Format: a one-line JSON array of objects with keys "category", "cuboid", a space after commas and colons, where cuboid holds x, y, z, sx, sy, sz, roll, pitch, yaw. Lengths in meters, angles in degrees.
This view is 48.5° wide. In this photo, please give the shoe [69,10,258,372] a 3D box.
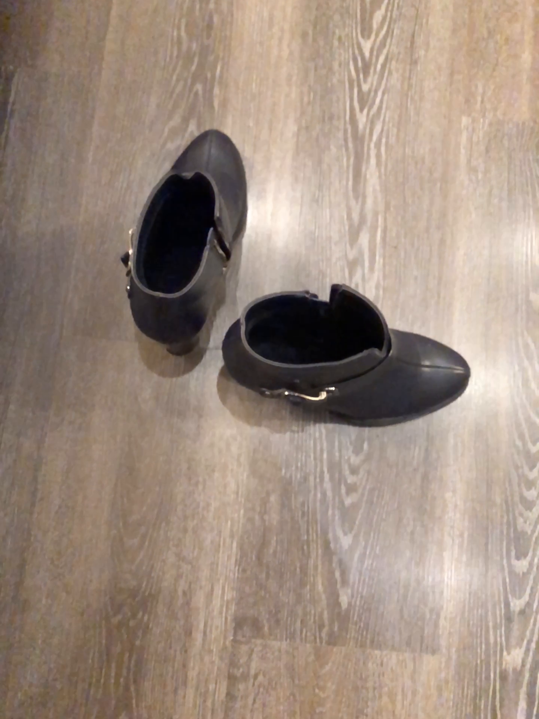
[{"category": "shoe", "cuboid": [-0.073, -0.121, 0.505, 0.090, 0.180, 0.230, 9, 81, 0]}]

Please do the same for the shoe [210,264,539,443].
[{"category": "shoe", "cuboid": [0.079, 0.009, 0.495, 0.230, 0.200, 0.090, 7, 81, 0]}]
